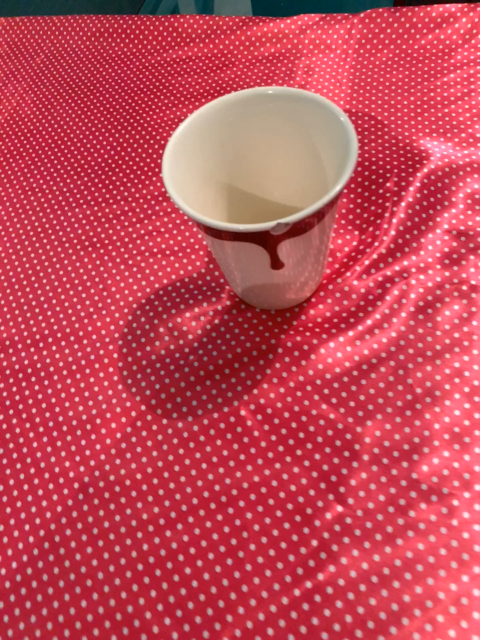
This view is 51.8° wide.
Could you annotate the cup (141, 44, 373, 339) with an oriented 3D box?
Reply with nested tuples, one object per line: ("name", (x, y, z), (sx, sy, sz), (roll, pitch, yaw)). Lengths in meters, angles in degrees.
("cup", (0.015, -0.069, 0.282), (0.100, 0.090, 0.130), (-2, 60, 9))
